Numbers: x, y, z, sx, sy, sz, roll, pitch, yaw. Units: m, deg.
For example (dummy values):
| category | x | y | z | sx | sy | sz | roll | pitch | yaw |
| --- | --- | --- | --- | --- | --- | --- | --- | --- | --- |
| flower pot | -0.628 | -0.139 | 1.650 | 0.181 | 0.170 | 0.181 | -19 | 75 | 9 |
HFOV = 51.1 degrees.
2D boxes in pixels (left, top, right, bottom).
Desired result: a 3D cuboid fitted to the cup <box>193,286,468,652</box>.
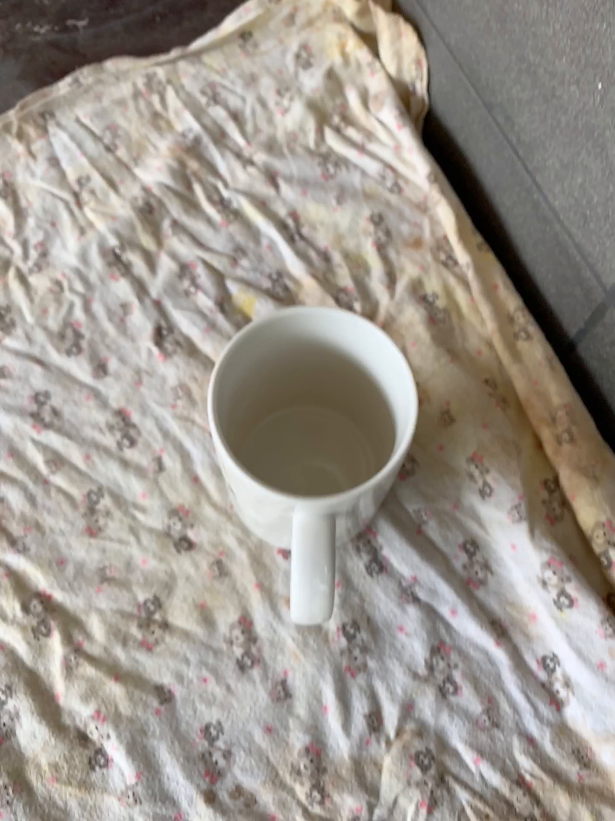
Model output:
| category | x | y | z | sx | sy | sz | roll | pitch | yaw |
| --- | --- | --- | --- | --- | --- | --- | --- | --- | --- |
| cup | 0.002 | 0.032 | 0.291 | 0.090 | 0.110 | 0.130 | -4 | 66 | -4 |
